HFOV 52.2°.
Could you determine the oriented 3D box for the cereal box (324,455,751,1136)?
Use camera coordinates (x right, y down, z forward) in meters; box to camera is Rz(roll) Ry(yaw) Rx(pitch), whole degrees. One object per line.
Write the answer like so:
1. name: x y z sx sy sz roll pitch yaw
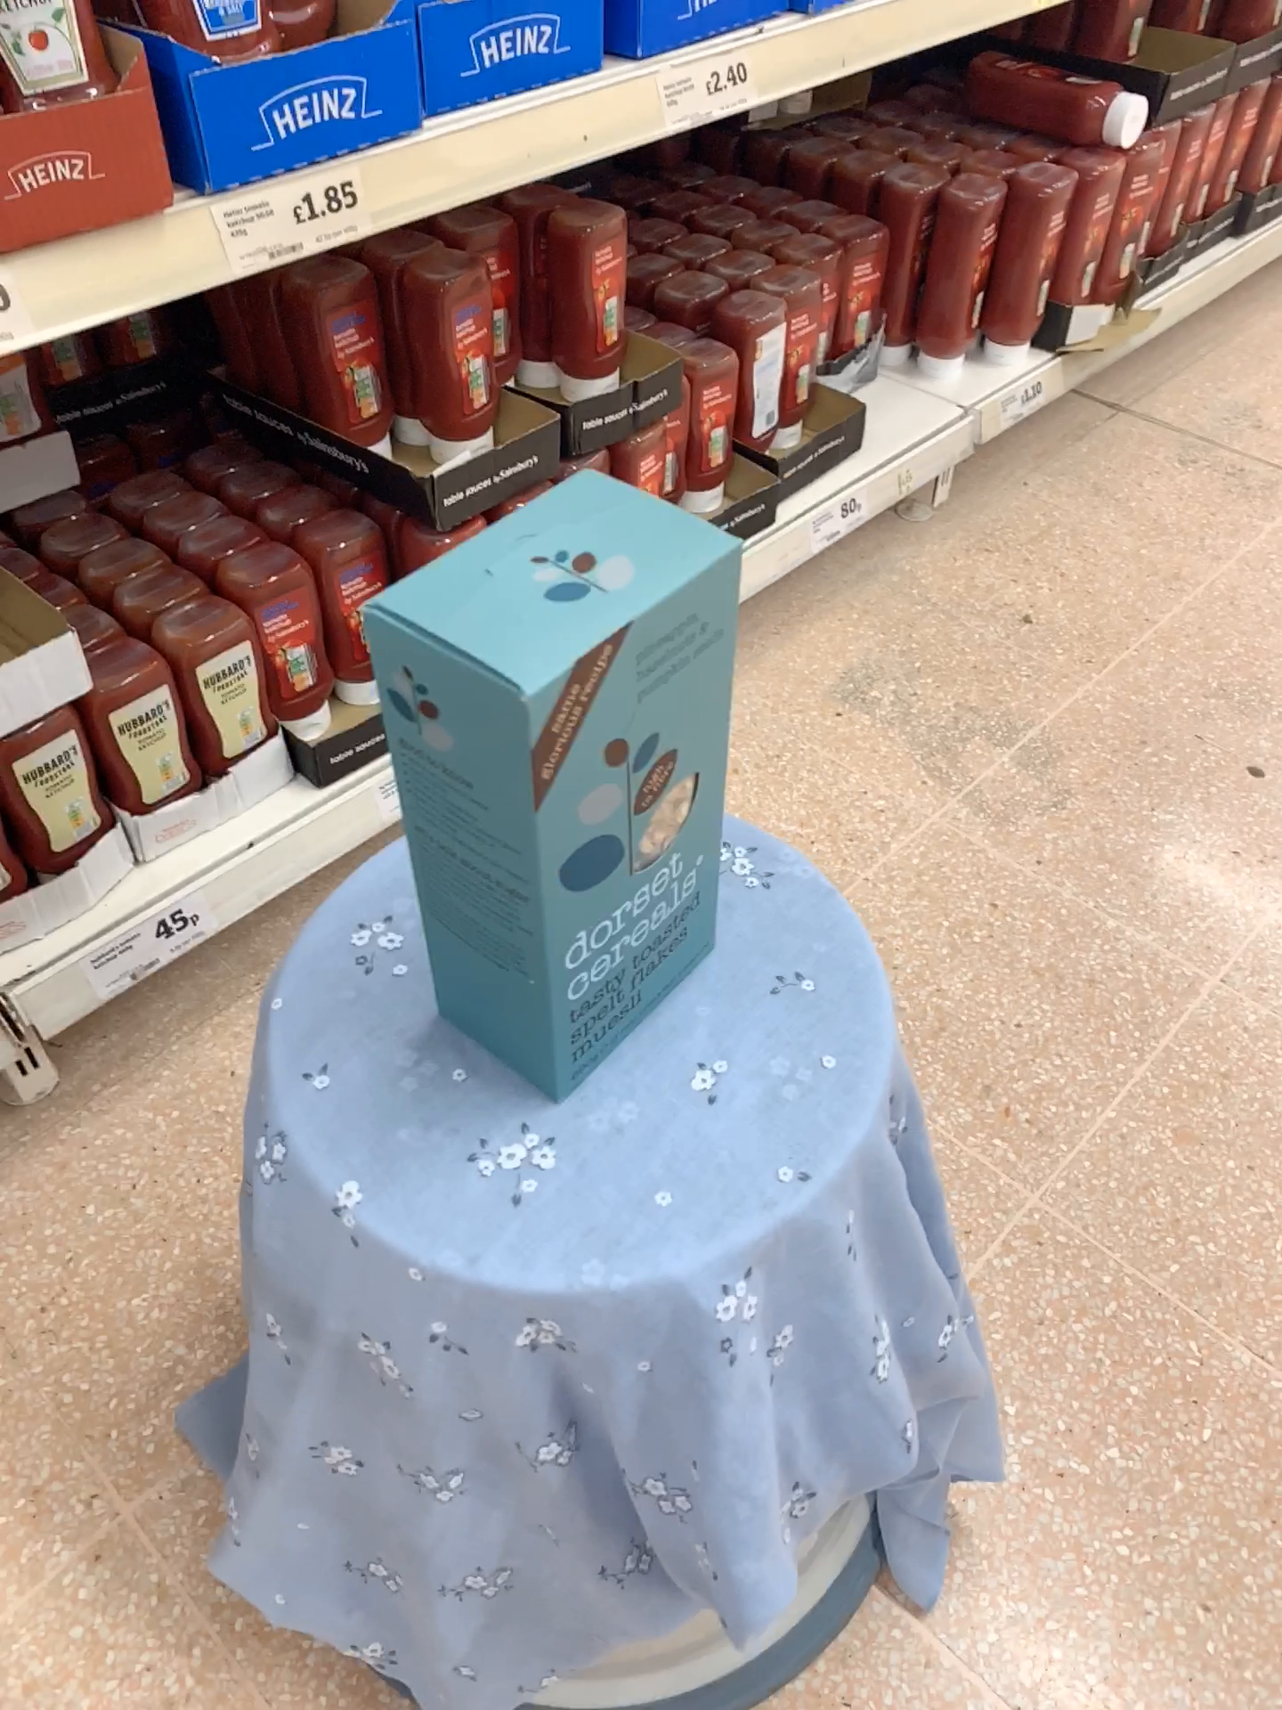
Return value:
1. cereal box: -0.034 -0.016 0.535 0.090 0.238 0.121 29 52 26
